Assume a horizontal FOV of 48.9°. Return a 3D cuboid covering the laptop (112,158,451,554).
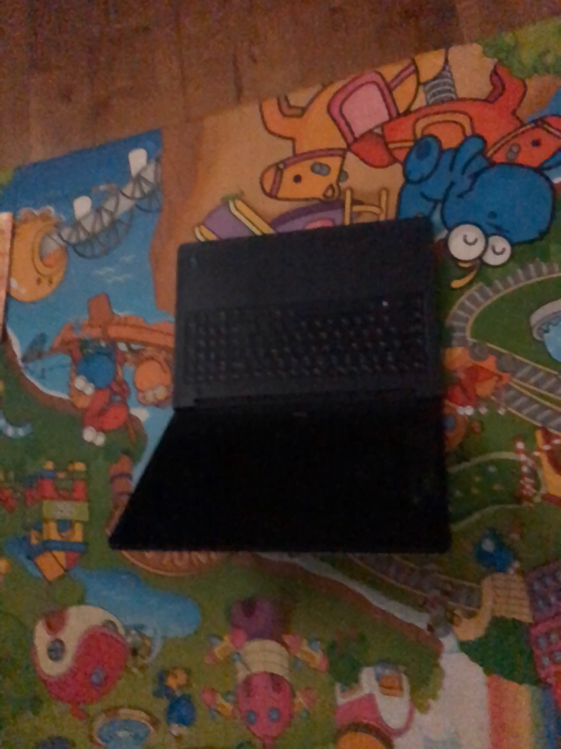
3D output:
[{"bbox_3d":[0.008,-0.010,0.764,0.361,0.159,0.429,-4,76,14],"label":"laptop"}]
